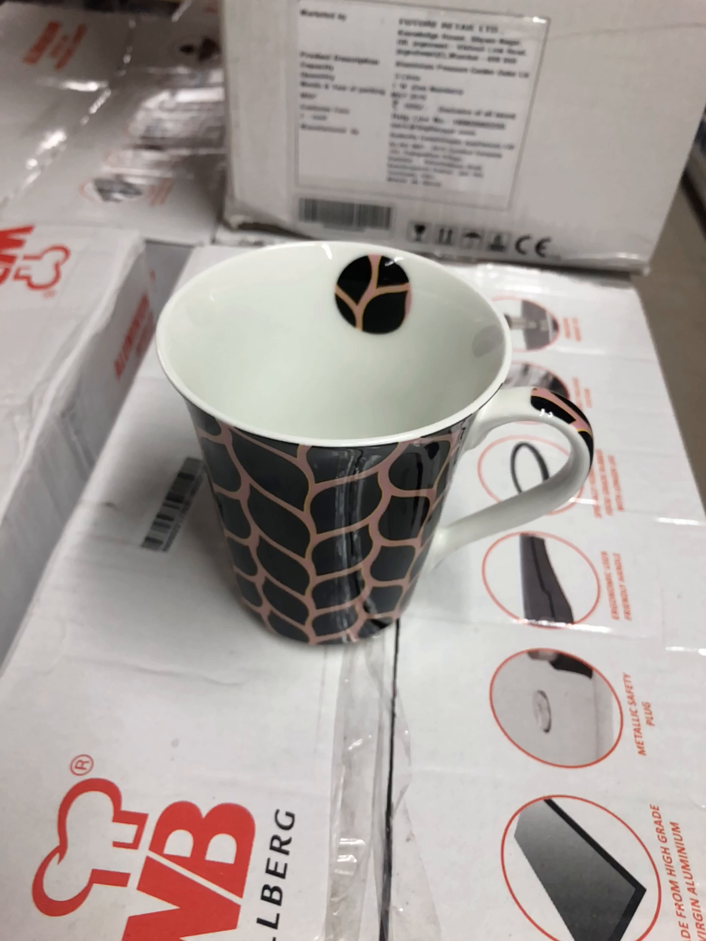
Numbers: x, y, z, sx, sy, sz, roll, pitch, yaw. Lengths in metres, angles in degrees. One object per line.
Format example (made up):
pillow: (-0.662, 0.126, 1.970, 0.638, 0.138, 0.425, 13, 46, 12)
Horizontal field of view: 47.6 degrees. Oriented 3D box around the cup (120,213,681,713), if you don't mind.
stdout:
cup: (0.008, -0.002, 0.215, 0.110, 0.089, 0.081, 8, 43, 0)
